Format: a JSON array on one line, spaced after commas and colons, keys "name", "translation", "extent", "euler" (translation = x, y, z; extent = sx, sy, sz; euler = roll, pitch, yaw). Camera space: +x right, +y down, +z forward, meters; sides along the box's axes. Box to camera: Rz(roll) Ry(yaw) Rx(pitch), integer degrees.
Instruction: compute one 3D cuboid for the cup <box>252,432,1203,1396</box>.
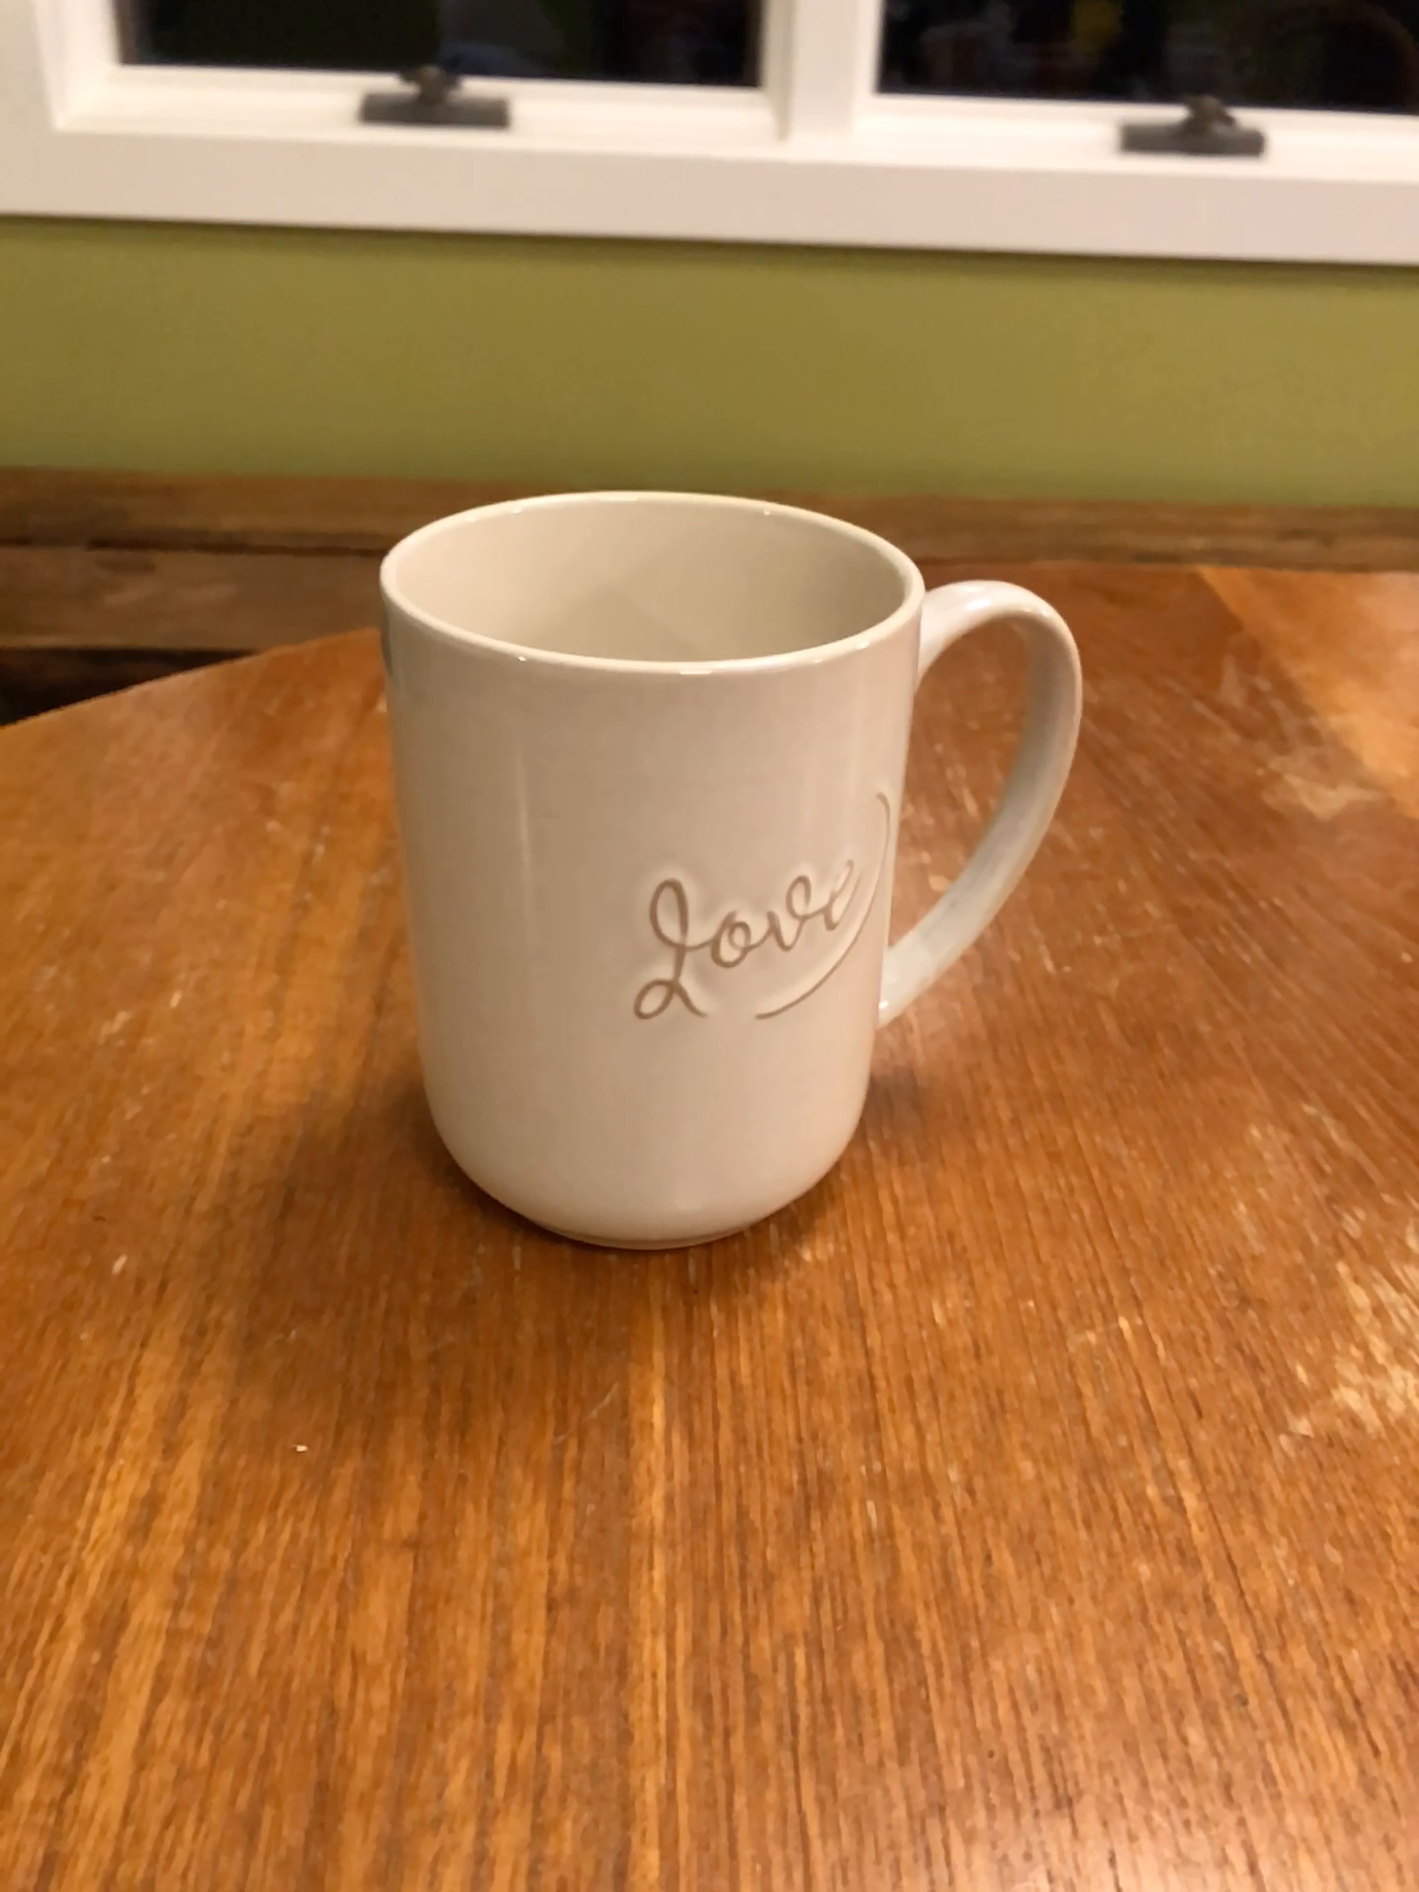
[{"name": "cup", "translation": [0.002, -0.017, 0.302], "extent": [0.135, 0.123, 0.092], "euler": [-20, 38, -32]}]
